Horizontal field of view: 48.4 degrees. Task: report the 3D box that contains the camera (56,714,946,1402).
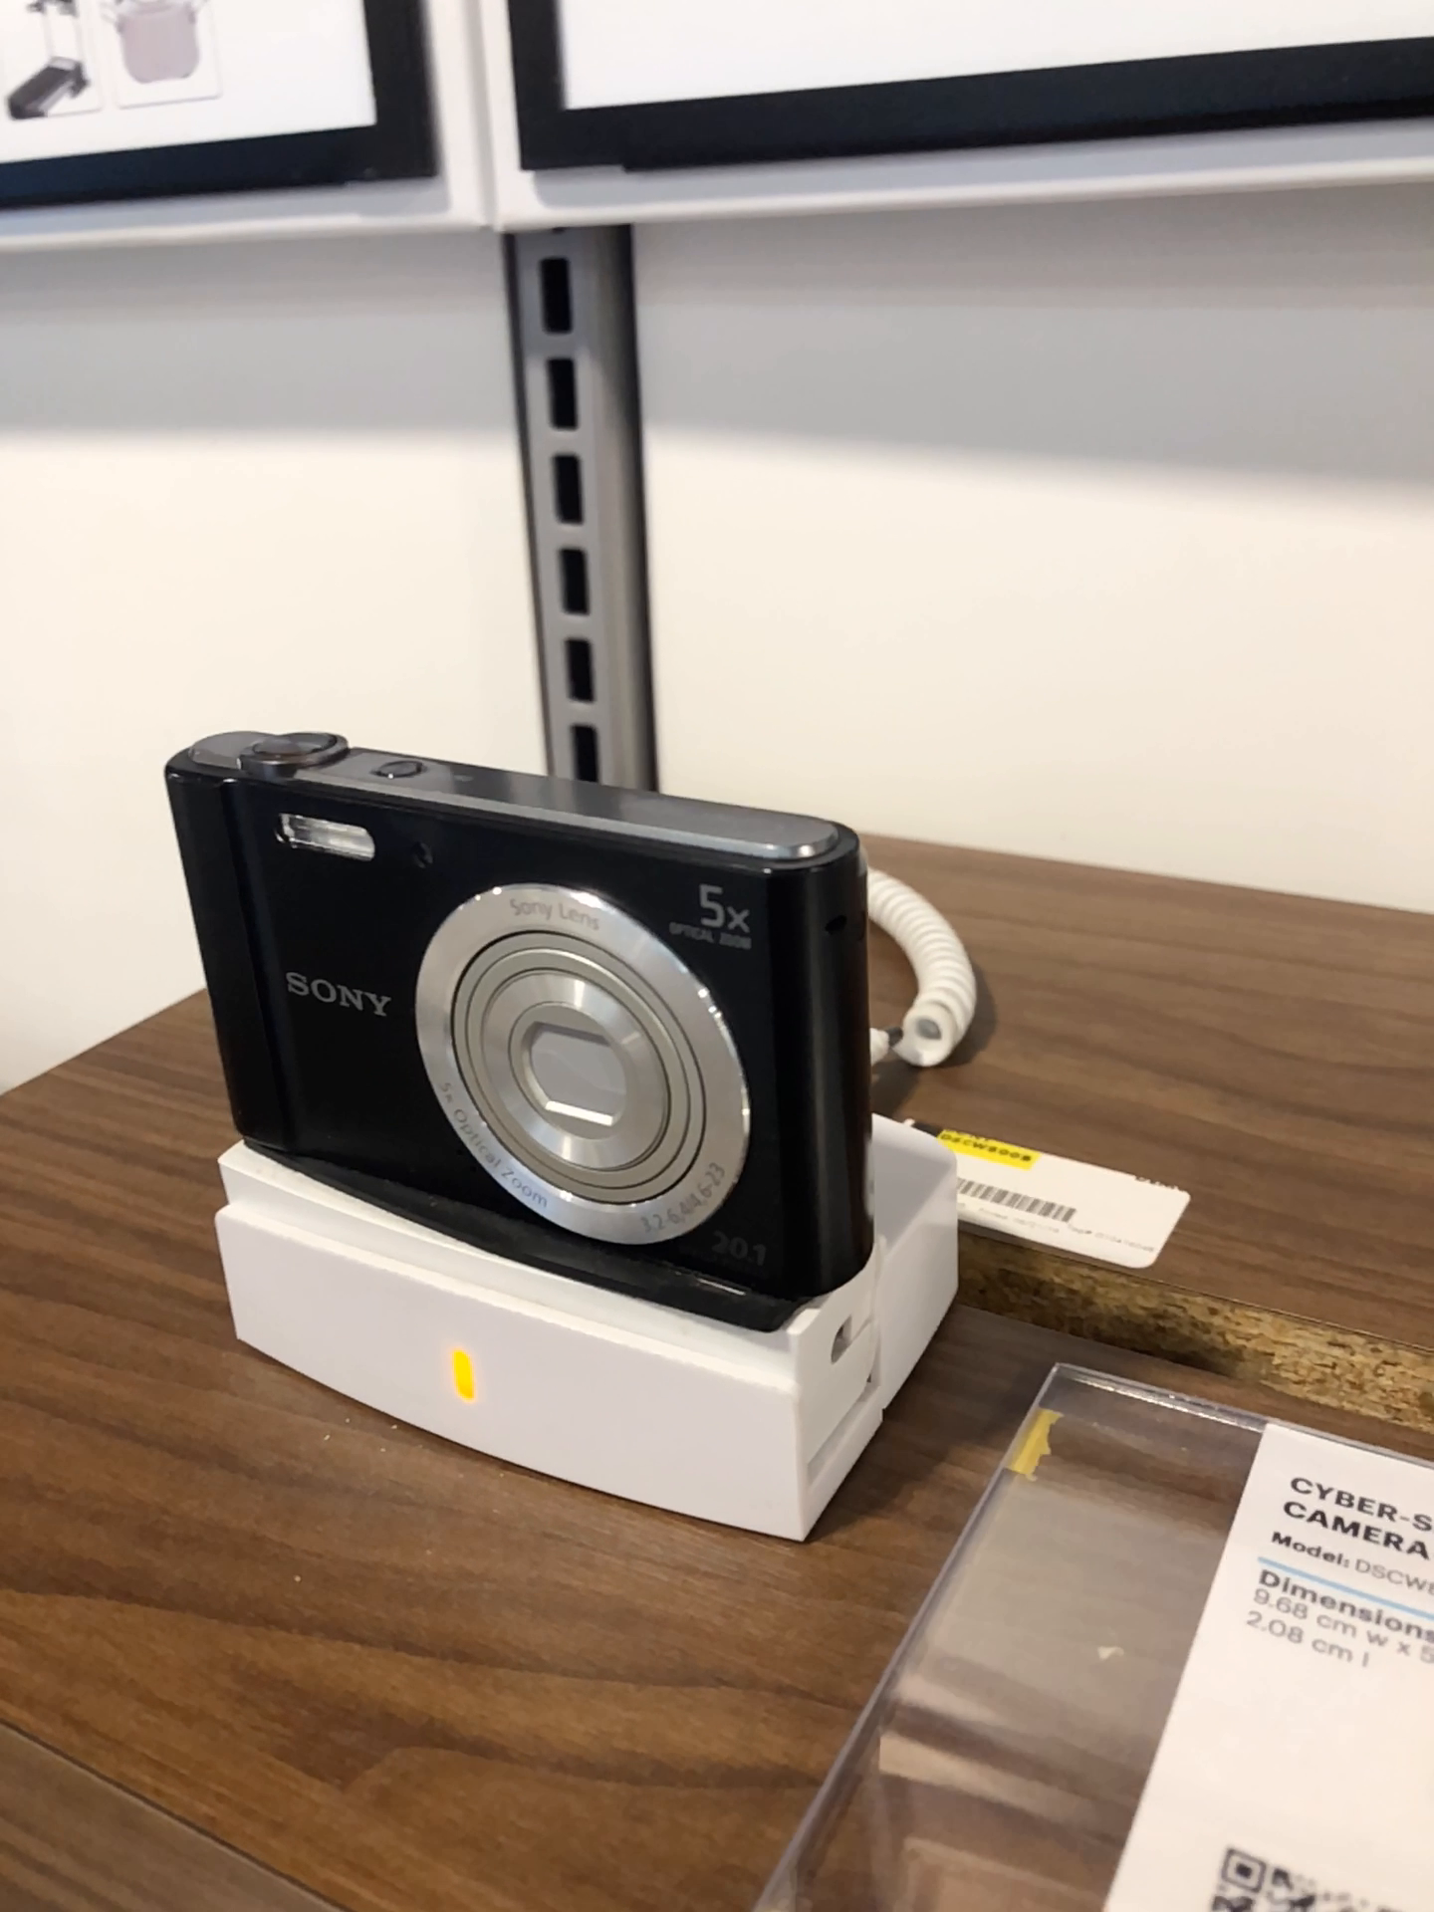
[{"bbox_3d":[-0.027,0.006,0.182,0.100,0.050,0.030,12,26,31],"label":"camera"}]
